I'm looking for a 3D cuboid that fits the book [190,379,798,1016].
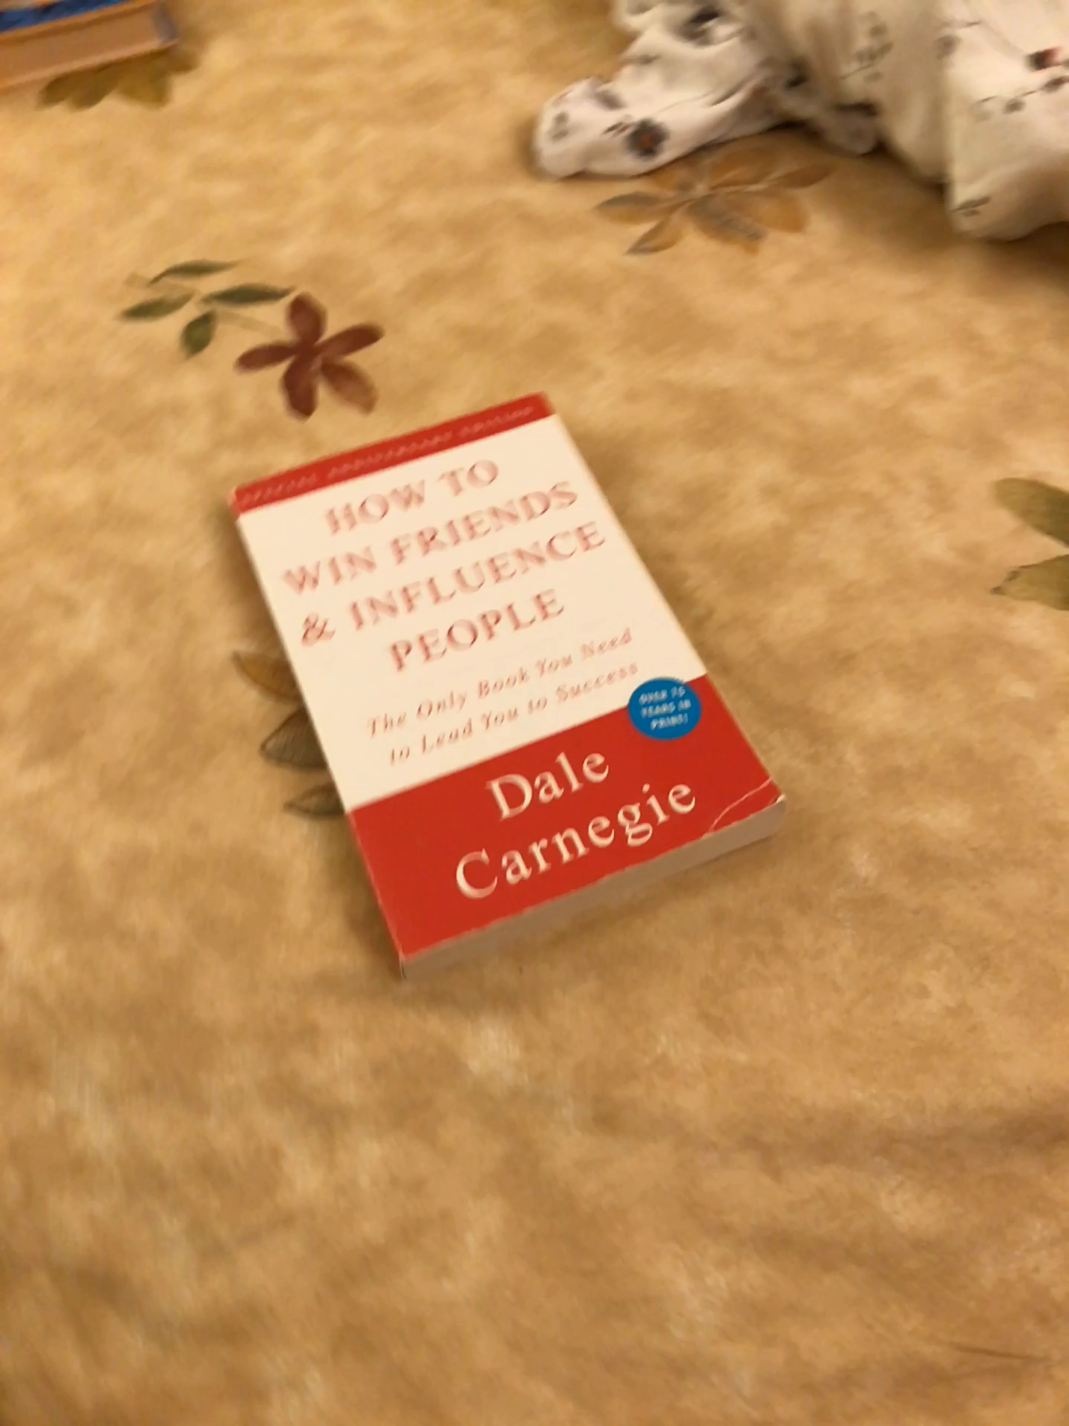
[{"bbox_3d":[-0.025,-0.021,0.430,0.150,0.020,0.221,-21,60,-9],"label":"book"}]
